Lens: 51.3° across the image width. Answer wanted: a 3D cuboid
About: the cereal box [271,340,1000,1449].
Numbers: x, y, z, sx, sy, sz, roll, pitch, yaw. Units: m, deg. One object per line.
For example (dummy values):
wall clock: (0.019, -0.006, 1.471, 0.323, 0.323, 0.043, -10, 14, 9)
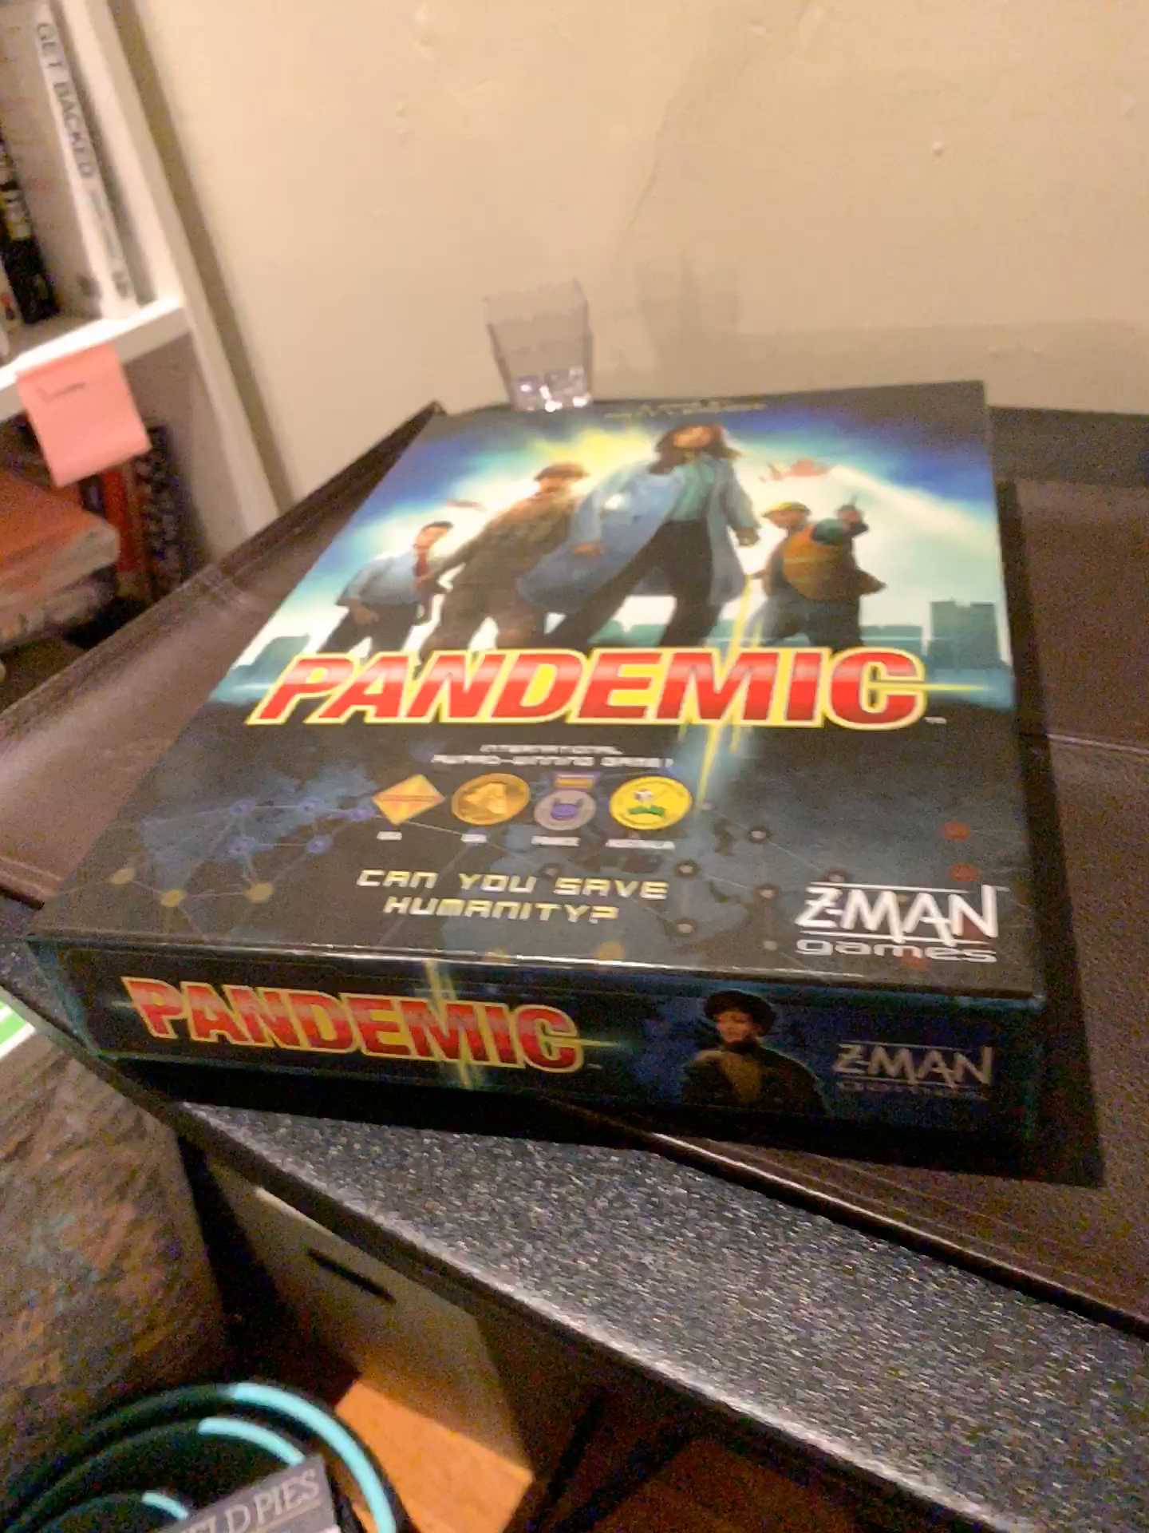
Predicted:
cereal box: (0.085, 0.163, 1.287, 0.470, 0.993, 0.514, -18, 36, -8)
